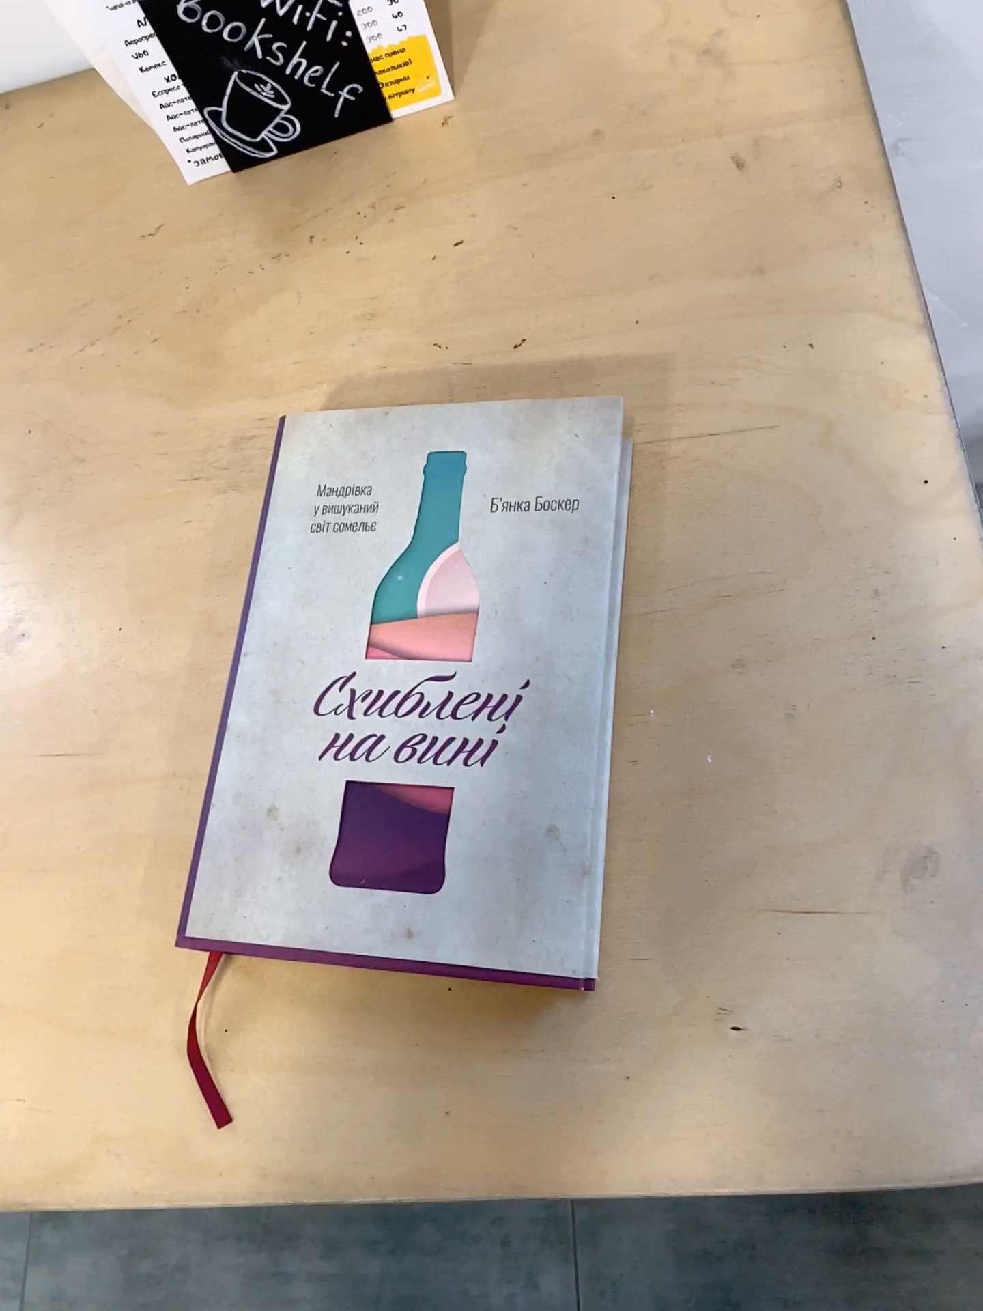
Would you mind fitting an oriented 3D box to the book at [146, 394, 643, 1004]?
[{"bbox_3d":[-0.027,0.010,0.381,0.150,0.050,0.214,2,70,15],"label":"book"}]
